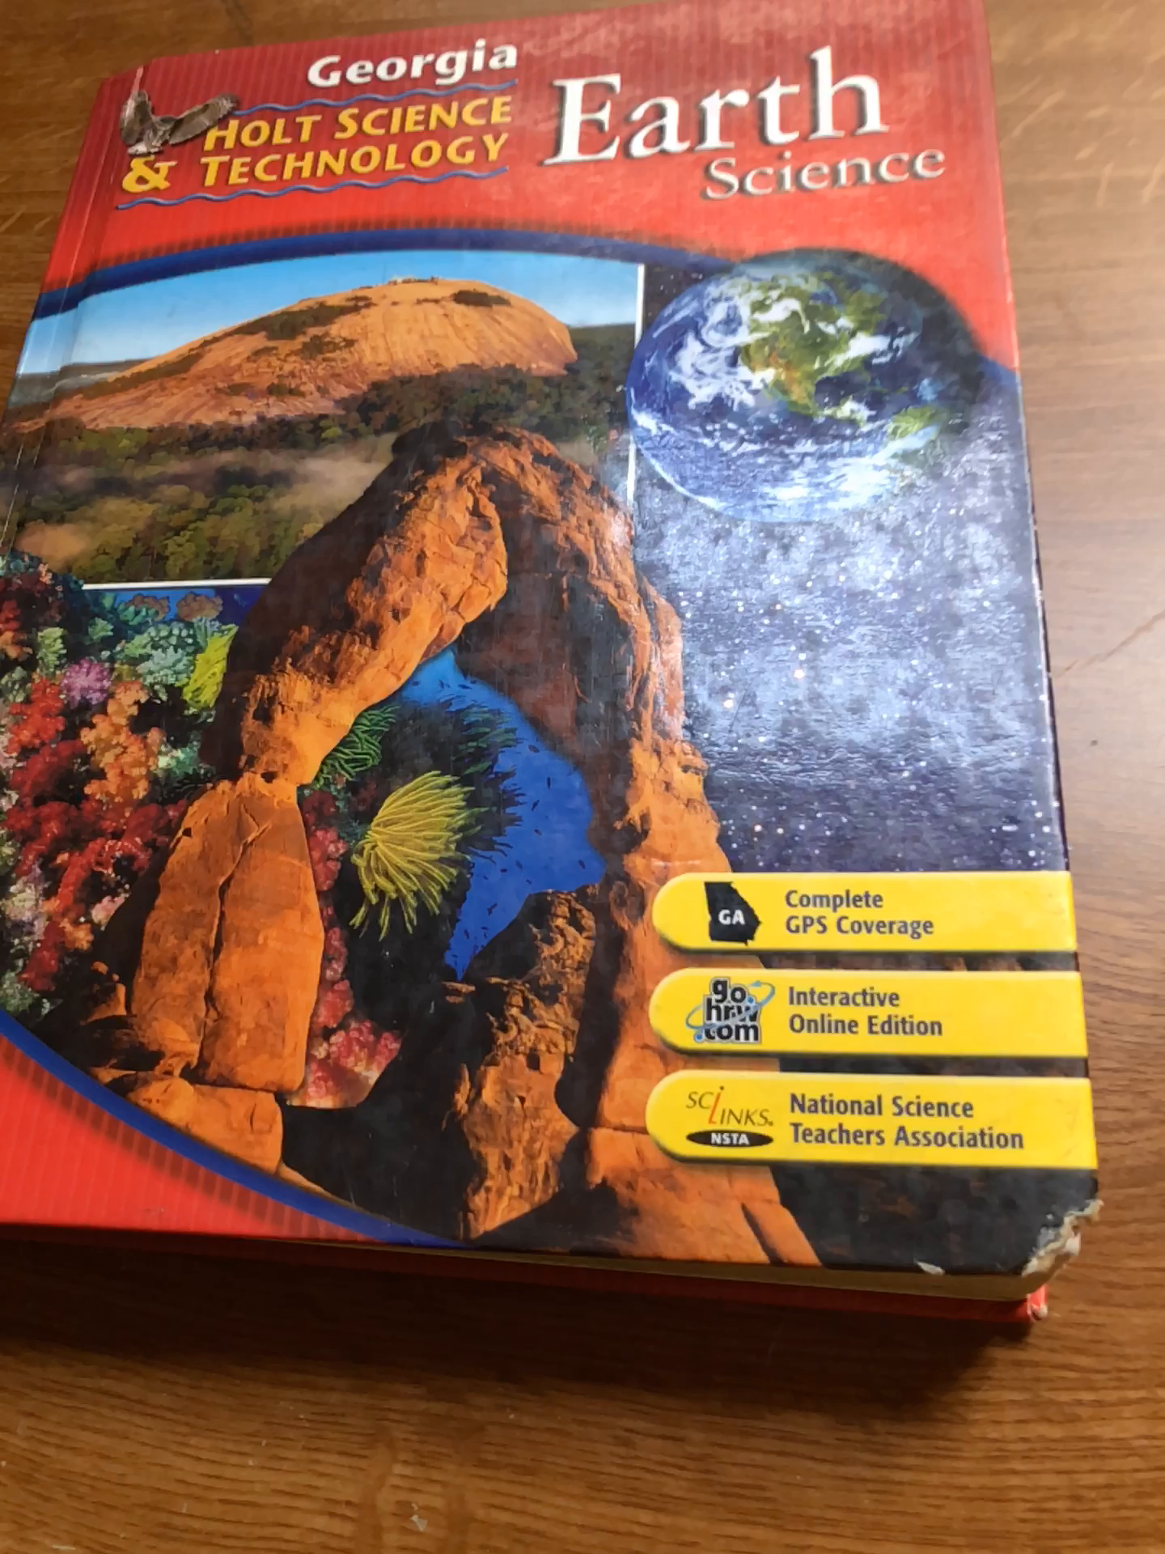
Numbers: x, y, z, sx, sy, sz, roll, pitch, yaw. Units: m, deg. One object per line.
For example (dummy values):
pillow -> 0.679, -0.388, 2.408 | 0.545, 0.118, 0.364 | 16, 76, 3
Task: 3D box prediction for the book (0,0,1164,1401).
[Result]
book -> -0.006, -0.040, 0.244 | 0.214, 0.050, 0.266 | 0, 66, 10
